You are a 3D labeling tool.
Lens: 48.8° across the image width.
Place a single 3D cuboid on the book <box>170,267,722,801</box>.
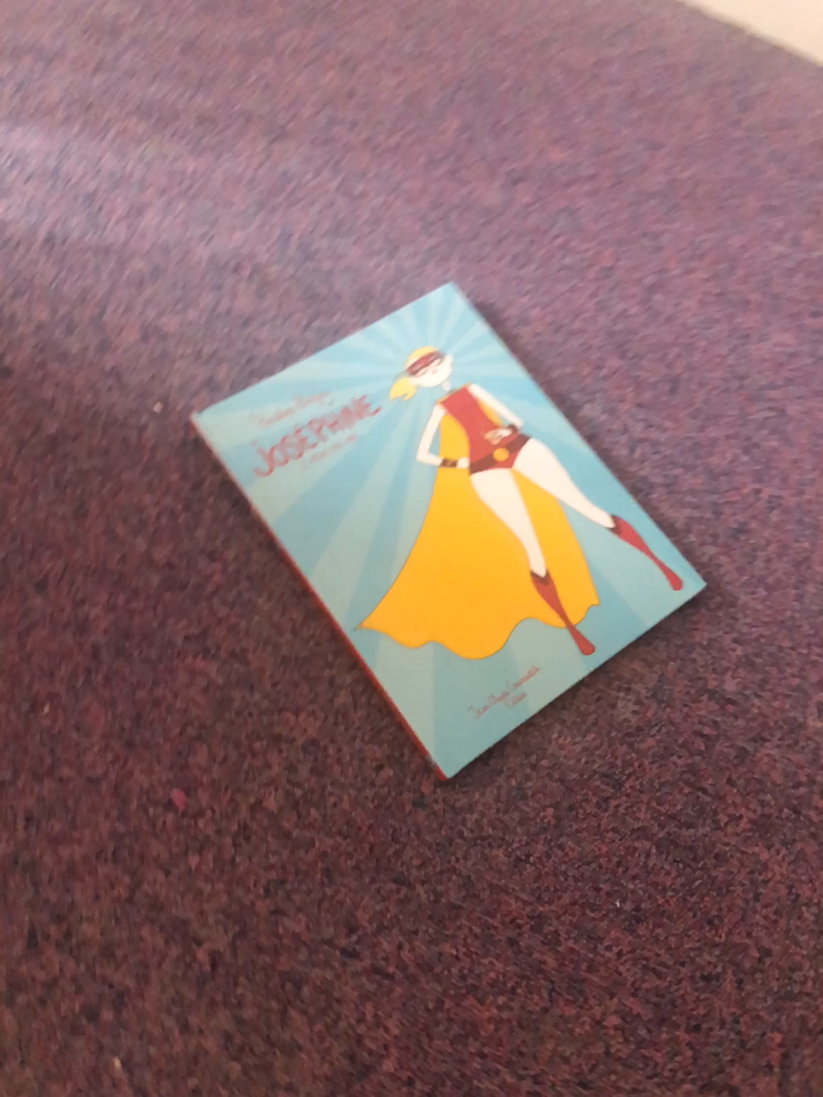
[{"bbox_3d":[0.022,-0.030,0.612,0.234,0.020,0.307,-32,74,-19],"label":"book"}]
